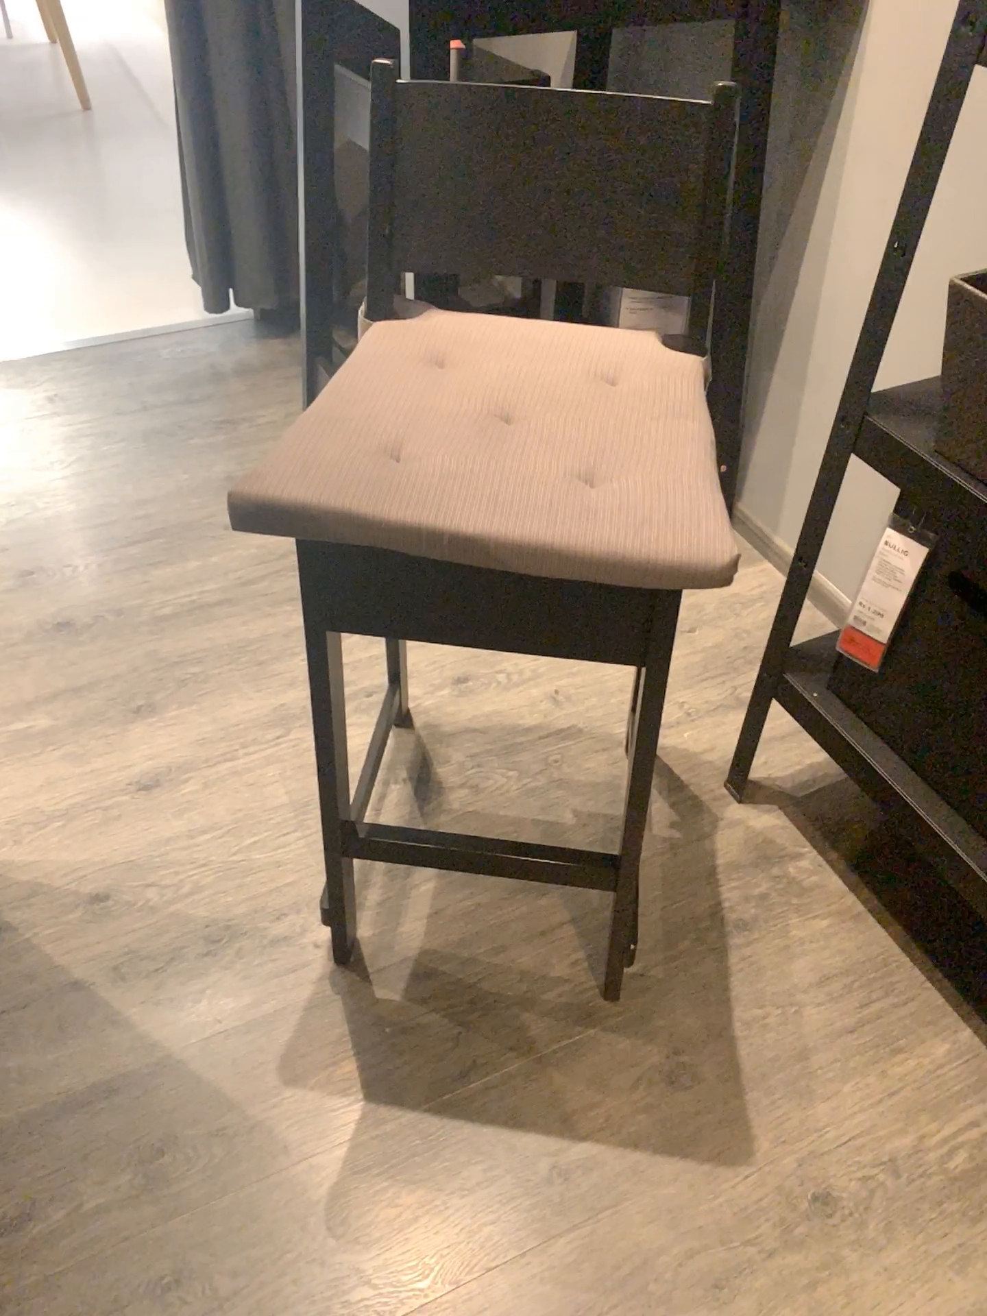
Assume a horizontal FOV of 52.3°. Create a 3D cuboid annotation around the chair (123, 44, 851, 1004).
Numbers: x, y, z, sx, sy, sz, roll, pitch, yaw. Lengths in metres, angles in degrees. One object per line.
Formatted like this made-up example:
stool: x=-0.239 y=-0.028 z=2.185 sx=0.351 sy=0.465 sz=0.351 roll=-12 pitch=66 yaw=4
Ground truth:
chair: x=0.008 y=-0.098 z=1.115 sx=0.460 sy=0.886 sz=0.502 roll=6 pitch=44 yaw=4
